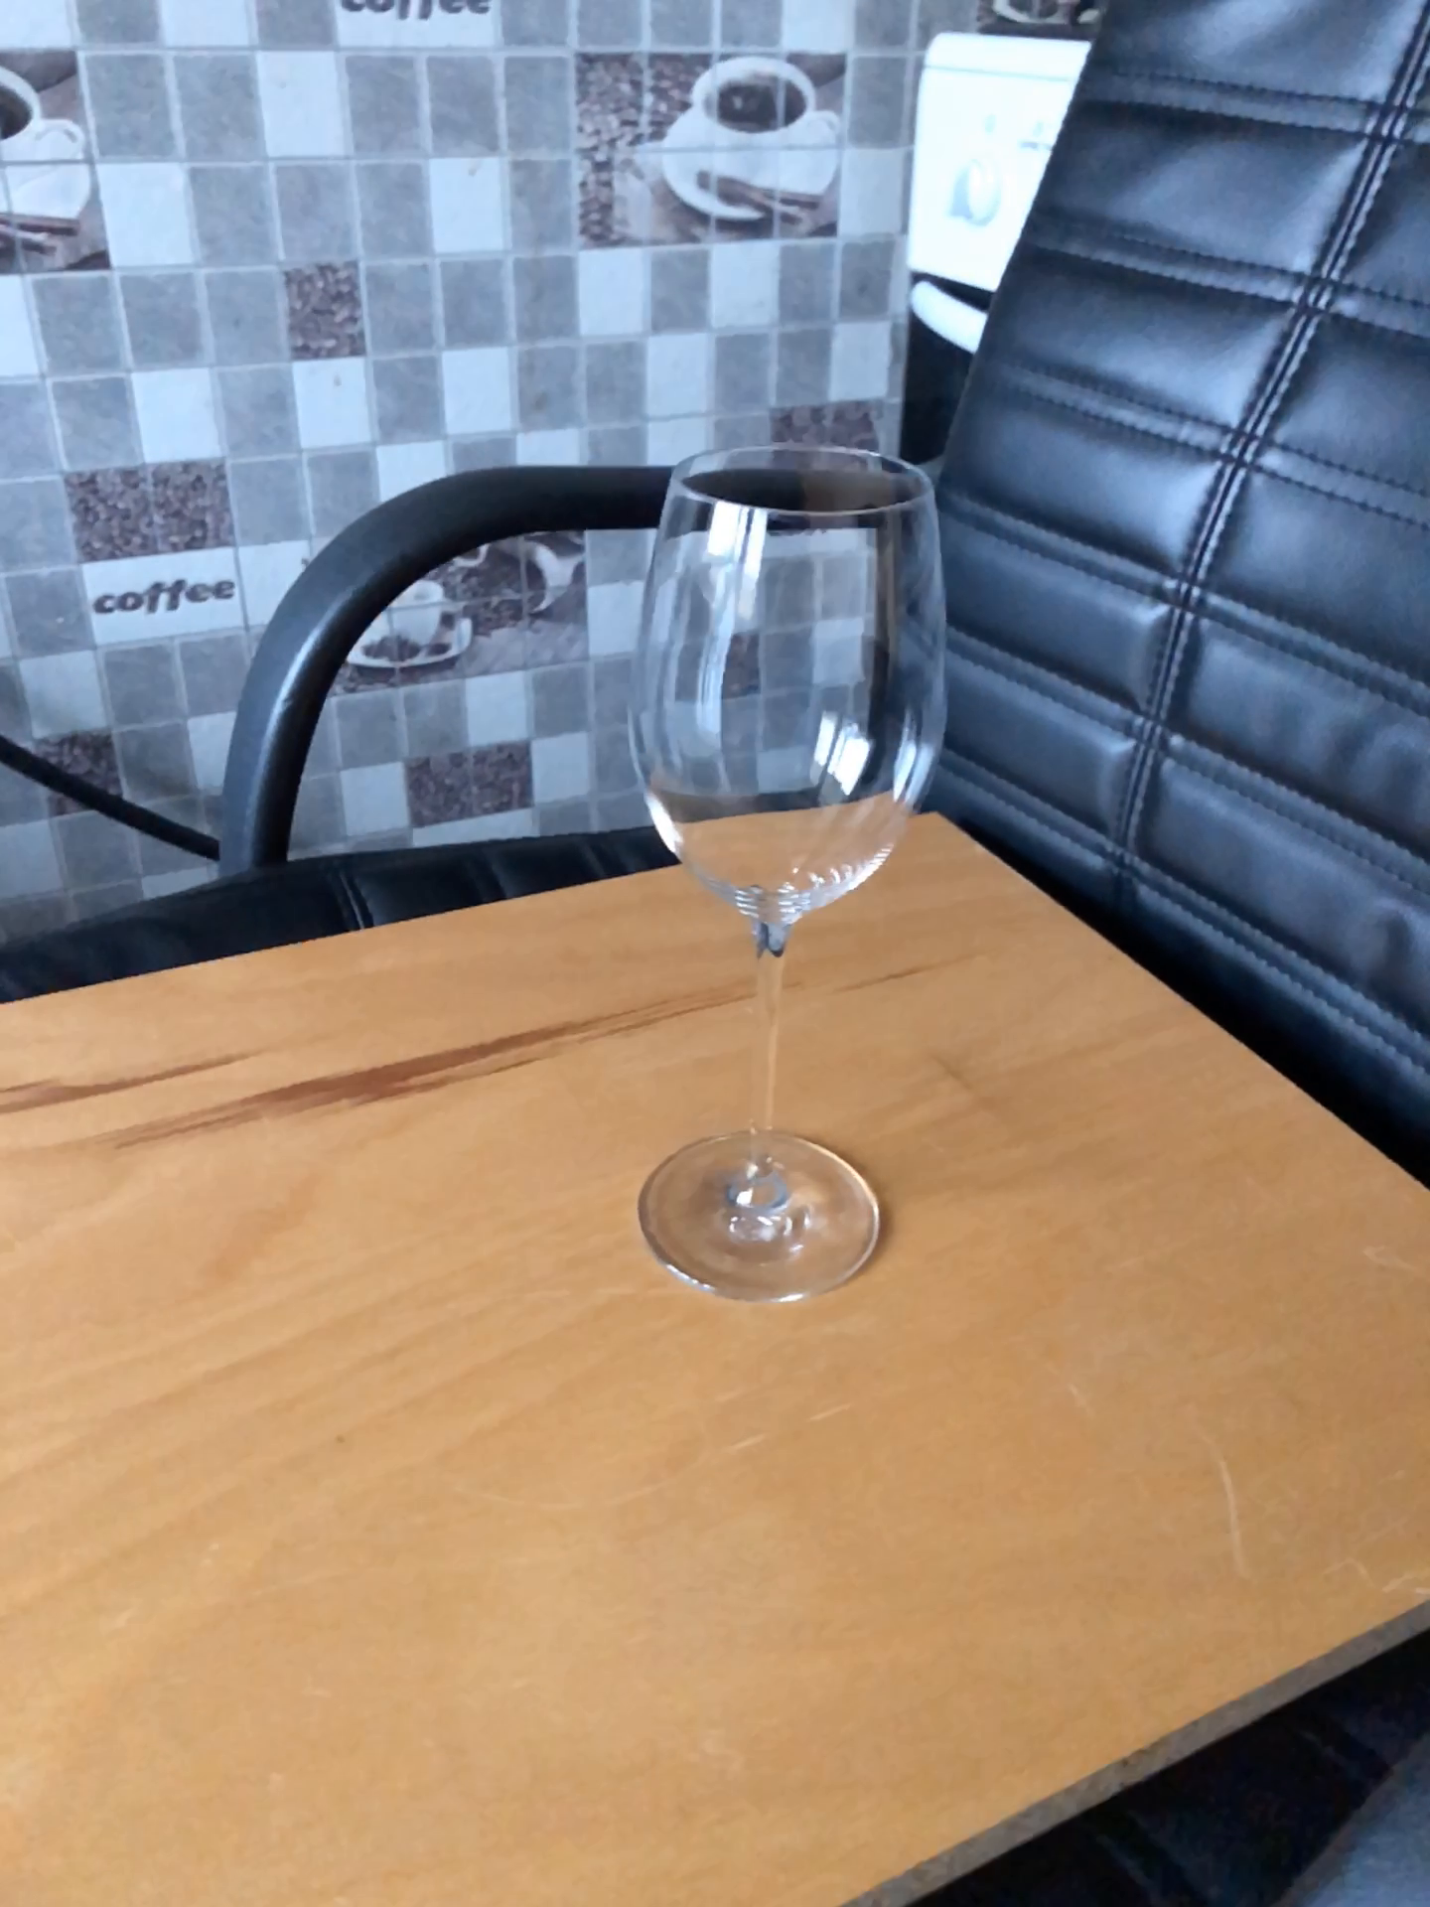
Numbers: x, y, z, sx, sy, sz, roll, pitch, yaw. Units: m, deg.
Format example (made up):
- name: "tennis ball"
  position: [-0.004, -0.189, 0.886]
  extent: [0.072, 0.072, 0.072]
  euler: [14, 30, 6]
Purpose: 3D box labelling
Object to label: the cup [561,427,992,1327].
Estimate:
- name: "cup"
  position: [0.015, -0.016, 0.420]
  extent: [0.089, 0.218, 0.090]
  euler: [1, 31, 0]
